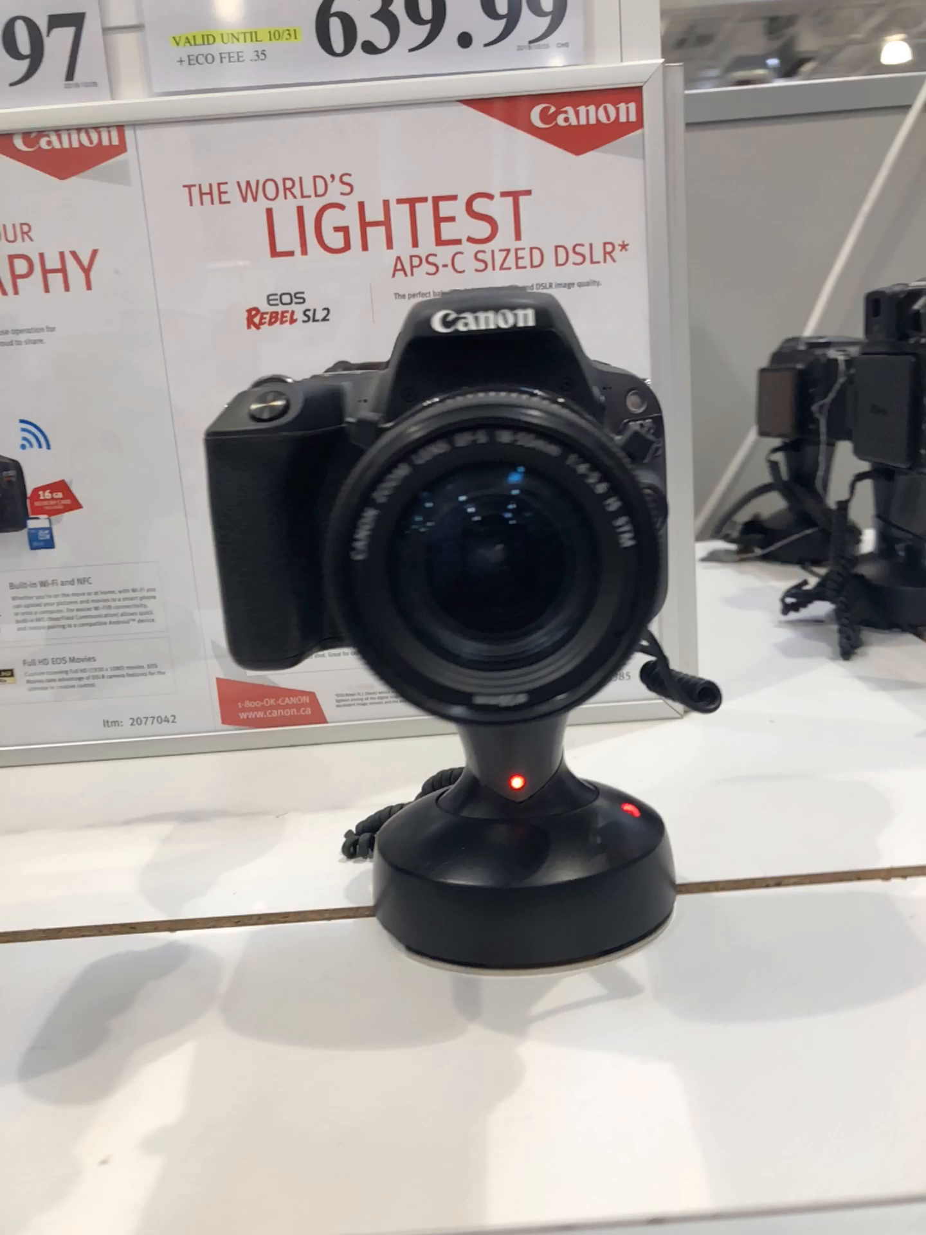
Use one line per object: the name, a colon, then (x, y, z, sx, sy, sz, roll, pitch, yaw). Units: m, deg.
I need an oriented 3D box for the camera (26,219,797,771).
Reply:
camera: (-0.004, -0.032, 0.240, 0.130, 0.090, 0.120, -3, 13, 4)
